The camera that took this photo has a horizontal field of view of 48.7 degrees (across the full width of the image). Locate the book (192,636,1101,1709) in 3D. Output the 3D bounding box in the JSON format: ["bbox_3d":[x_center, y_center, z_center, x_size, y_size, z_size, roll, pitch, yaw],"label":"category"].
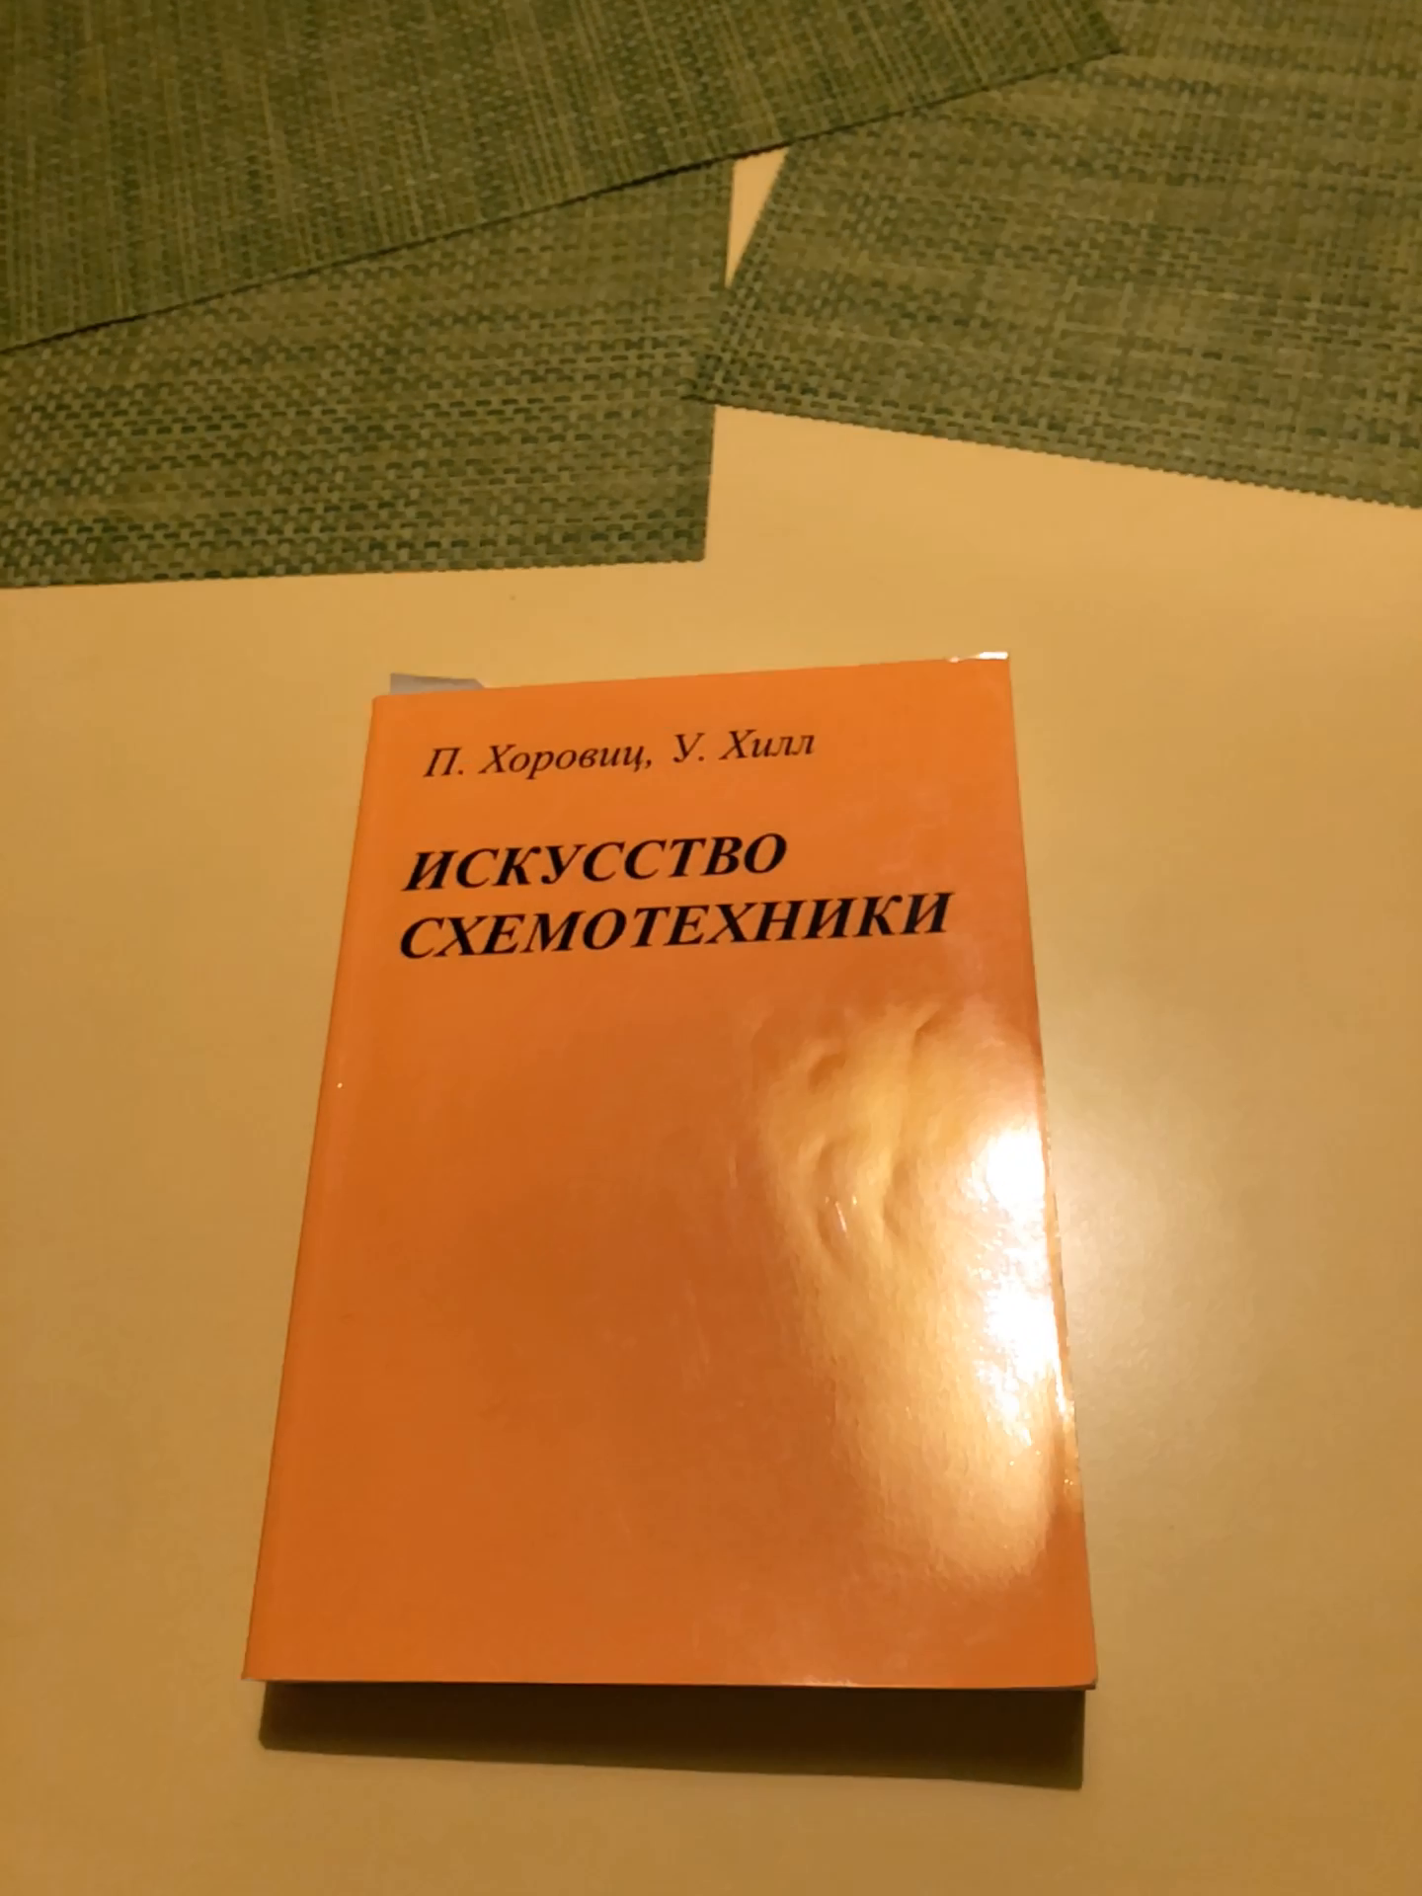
[{"bbox_3d":[-0.009,0.043,0.367,0.171,0.048,0.238,-2,63,7],"label":"book"}]
